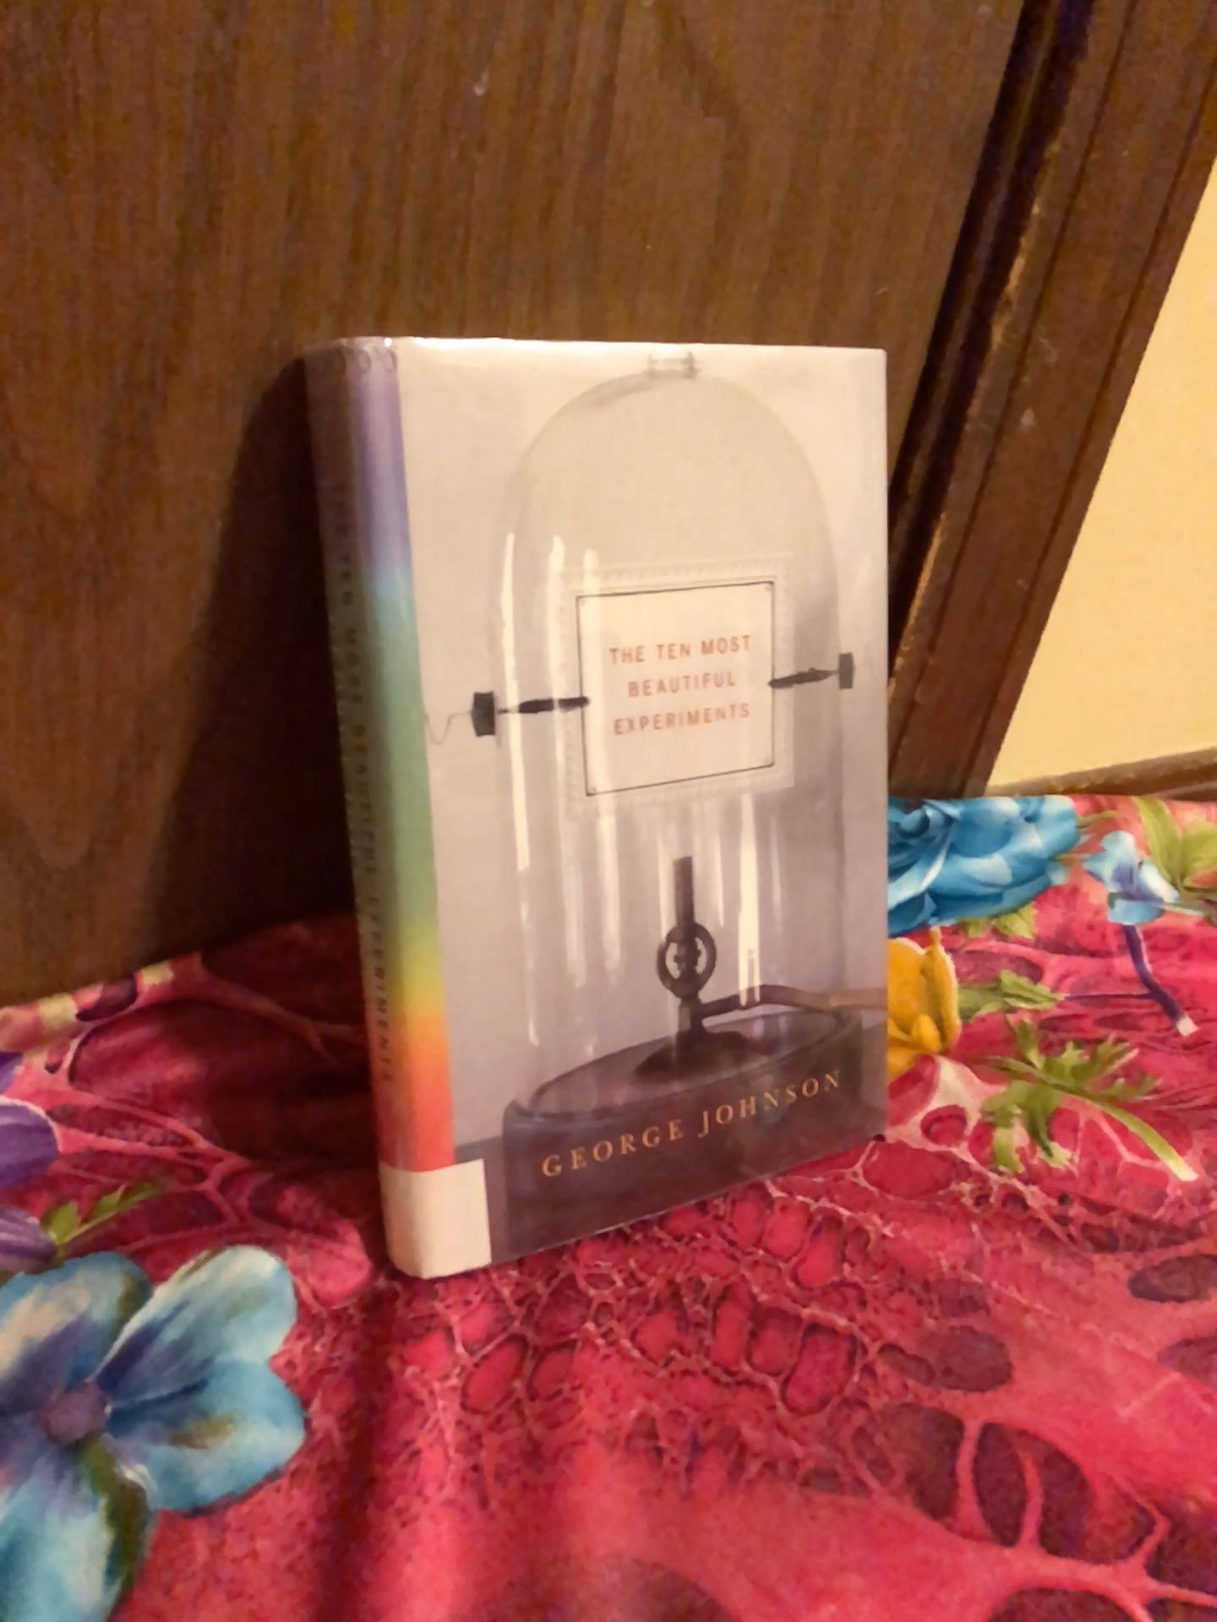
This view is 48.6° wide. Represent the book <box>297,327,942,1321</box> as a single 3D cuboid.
[{"bbox_3d":[0.012,-0.003,0.302,0.140,0.190,0.033,-10,13,-31],"label":"book"}]
